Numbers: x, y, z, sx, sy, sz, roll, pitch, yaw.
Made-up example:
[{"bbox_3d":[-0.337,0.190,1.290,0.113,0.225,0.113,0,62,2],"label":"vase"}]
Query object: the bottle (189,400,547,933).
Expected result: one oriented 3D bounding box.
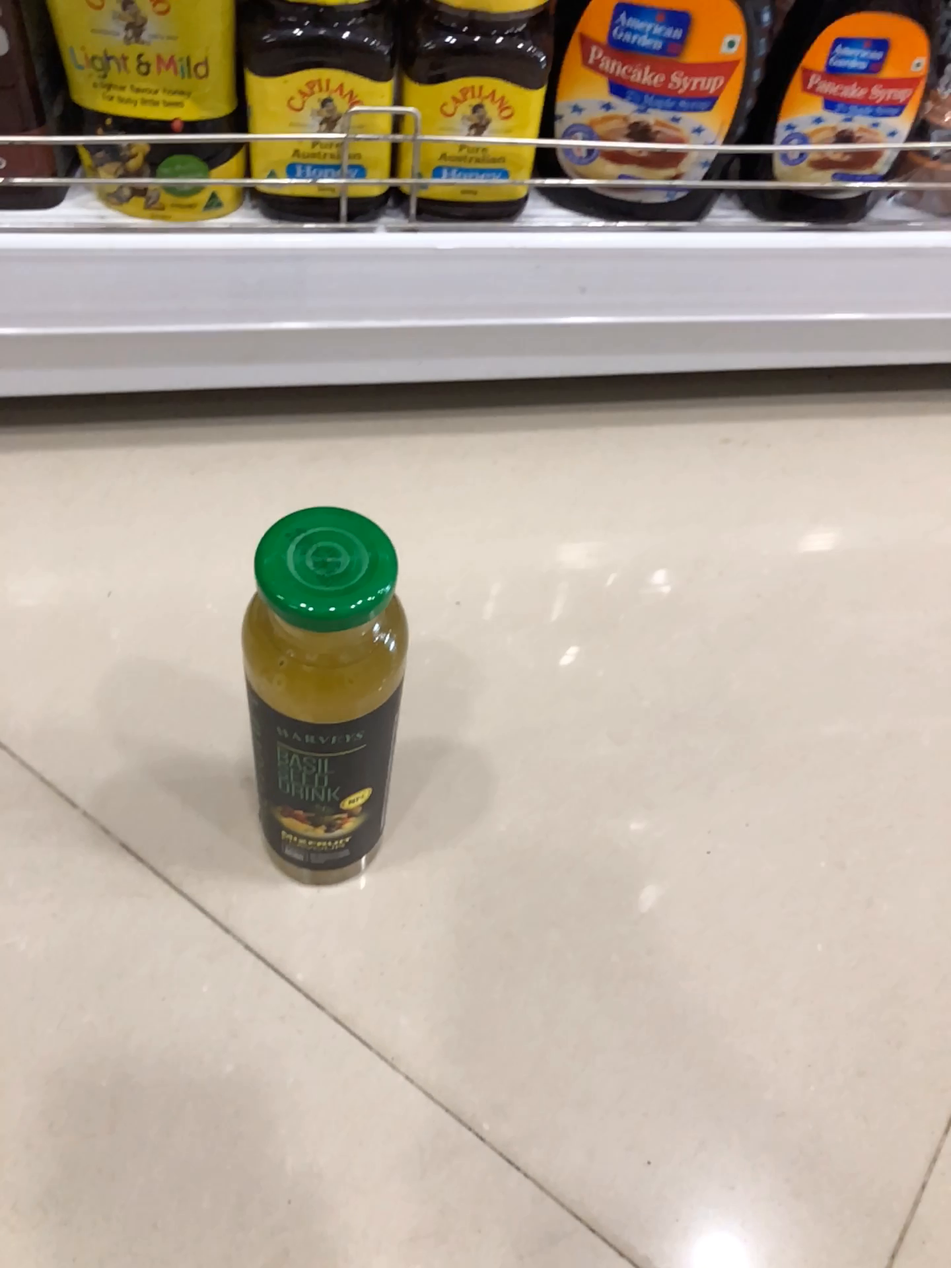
[{"bbox_3d":[-0.038,0.027,0.361,0.080,0.199,0.070,13,55,0],"label":"bottle"}]
